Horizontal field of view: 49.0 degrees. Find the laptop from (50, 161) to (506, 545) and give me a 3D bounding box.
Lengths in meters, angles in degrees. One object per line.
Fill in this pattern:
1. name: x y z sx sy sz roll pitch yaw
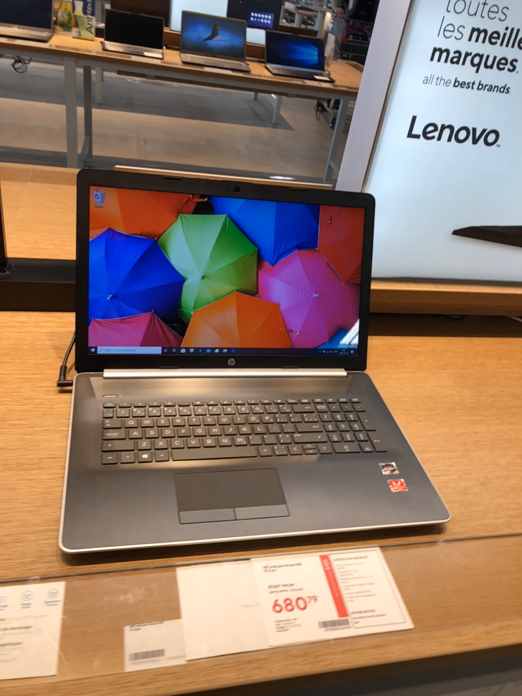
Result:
1. laptop: -0.020 -0.024 0.690 0.399 0.217 0.399 1 37 -15
